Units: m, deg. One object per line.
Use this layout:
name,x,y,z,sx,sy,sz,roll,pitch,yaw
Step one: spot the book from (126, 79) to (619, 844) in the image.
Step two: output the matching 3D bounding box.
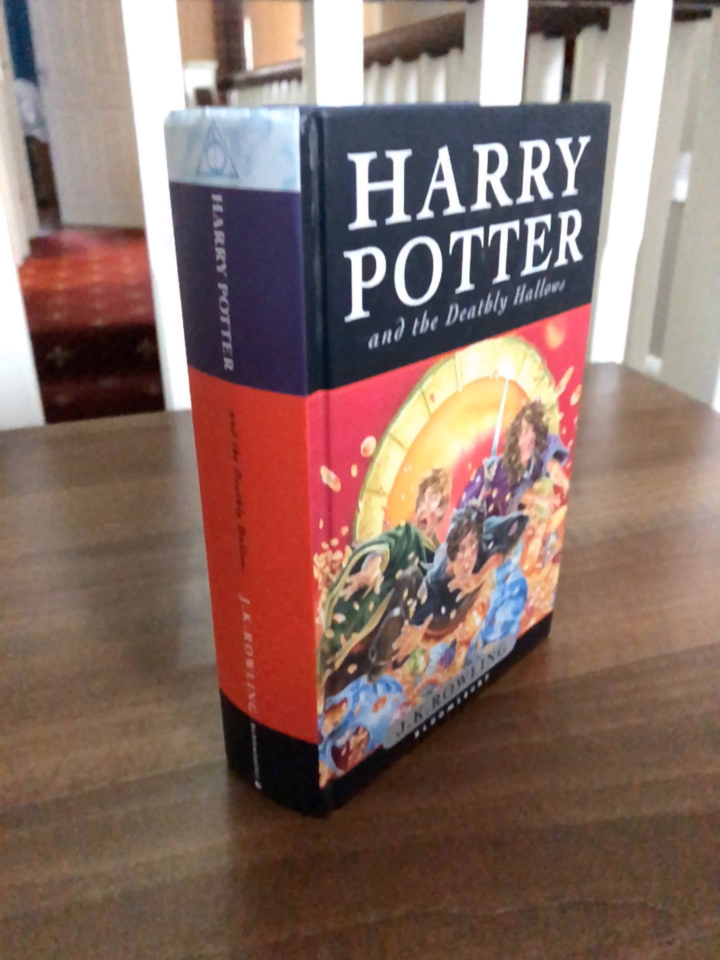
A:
book,0.013,-0.014,0.269,0.060,0.209,0.140,20,31,40
